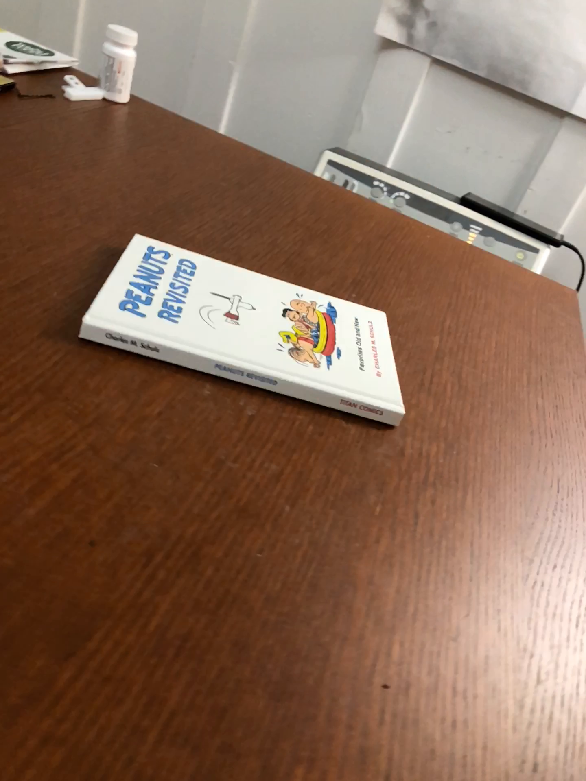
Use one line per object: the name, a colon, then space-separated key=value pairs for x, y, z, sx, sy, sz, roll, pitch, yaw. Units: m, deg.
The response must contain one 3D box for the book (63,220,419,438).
book: x=-0.027 y=-0.050 z=0.456 sx=0.220 sy=0.020 sz=0.151 roll=16 pitch=34 yaw=-10
